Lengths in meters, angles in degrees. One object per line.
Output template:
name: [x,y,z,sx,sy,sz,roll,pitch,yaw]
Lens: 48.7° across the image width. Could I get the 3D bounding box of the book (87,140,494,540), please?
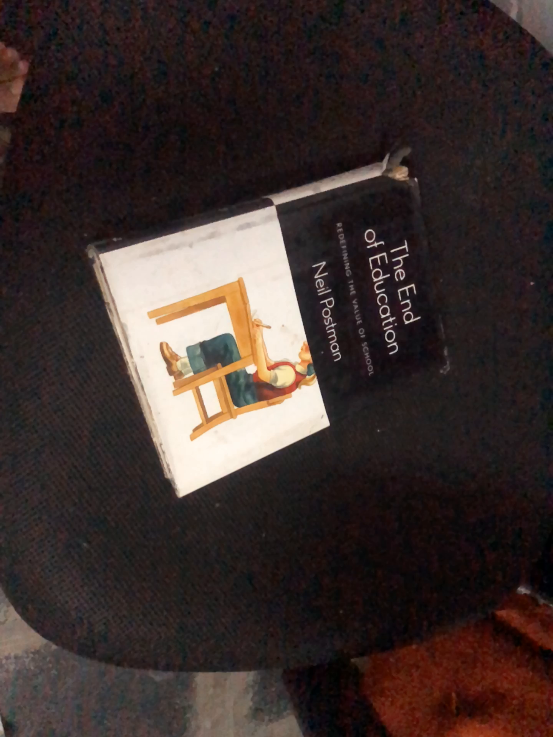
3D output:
book: [0.031,-0.029,0.397,0.251,0.030,0.180,-23,109,-25]
